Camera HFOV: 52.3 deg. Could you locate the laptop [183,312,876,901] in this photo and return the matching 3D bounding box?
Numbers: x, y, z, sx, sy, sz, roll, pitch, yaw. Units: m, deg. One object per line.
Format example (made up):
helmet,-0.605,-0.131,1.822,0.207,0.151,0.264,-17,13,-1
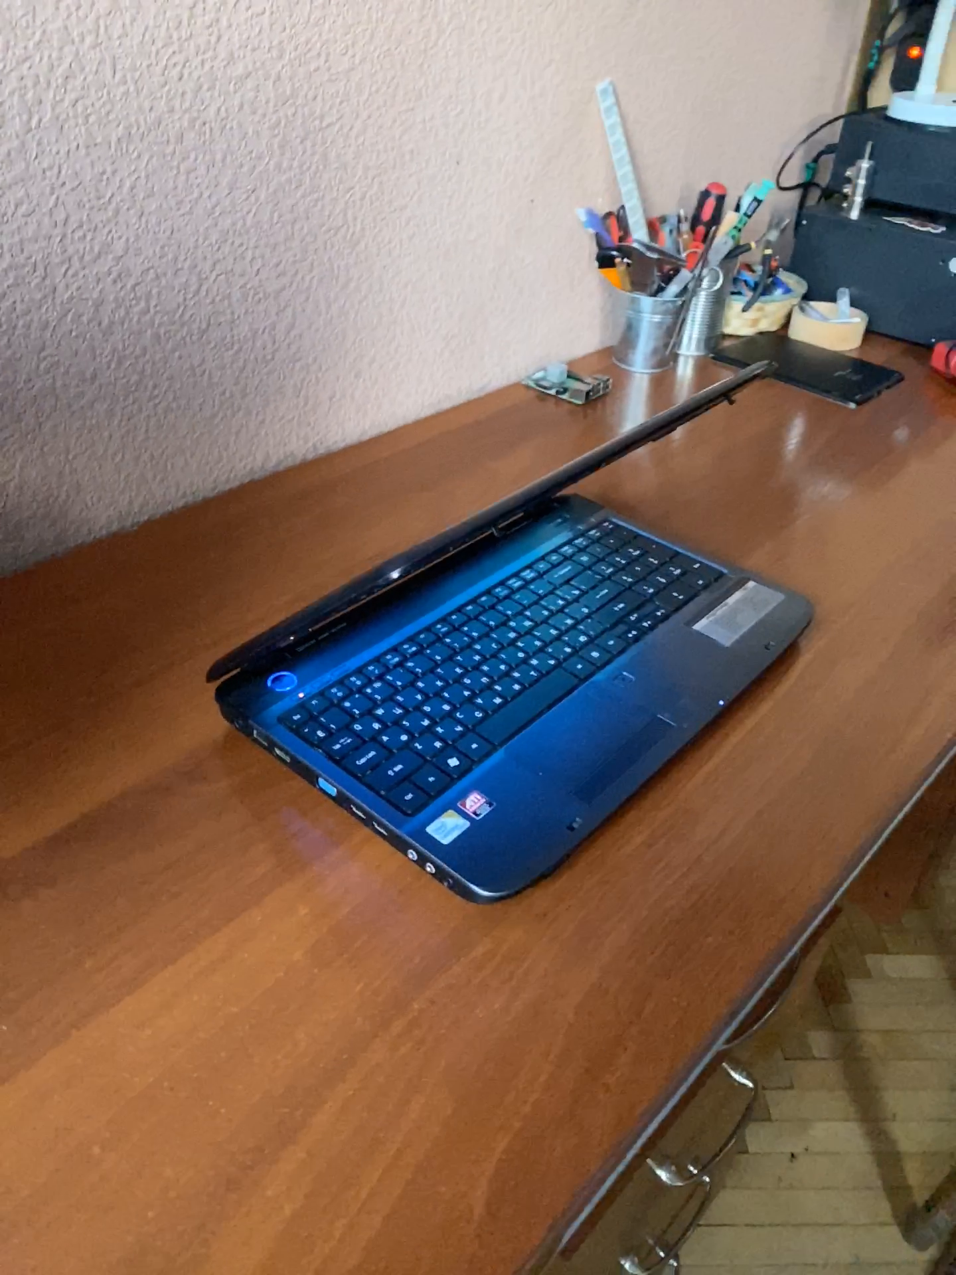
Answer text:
laptop,0.048,-0.060,0.646,0.241,0.162,0.381,30,44,30
